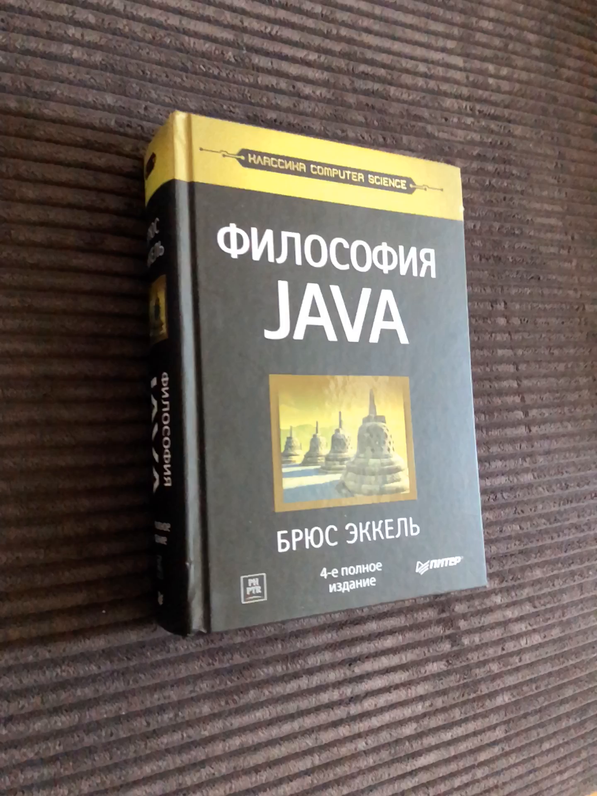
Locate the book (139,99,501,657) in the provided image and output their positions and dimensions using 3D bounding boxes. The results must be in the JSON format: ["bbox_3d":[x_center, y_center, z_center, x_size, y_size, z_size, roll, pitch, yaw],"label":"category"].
[{"bbox_3d":[0.012,-0.011,0.347,0.172,0.060,0.239,0,85,-28],"label":"book"}]
